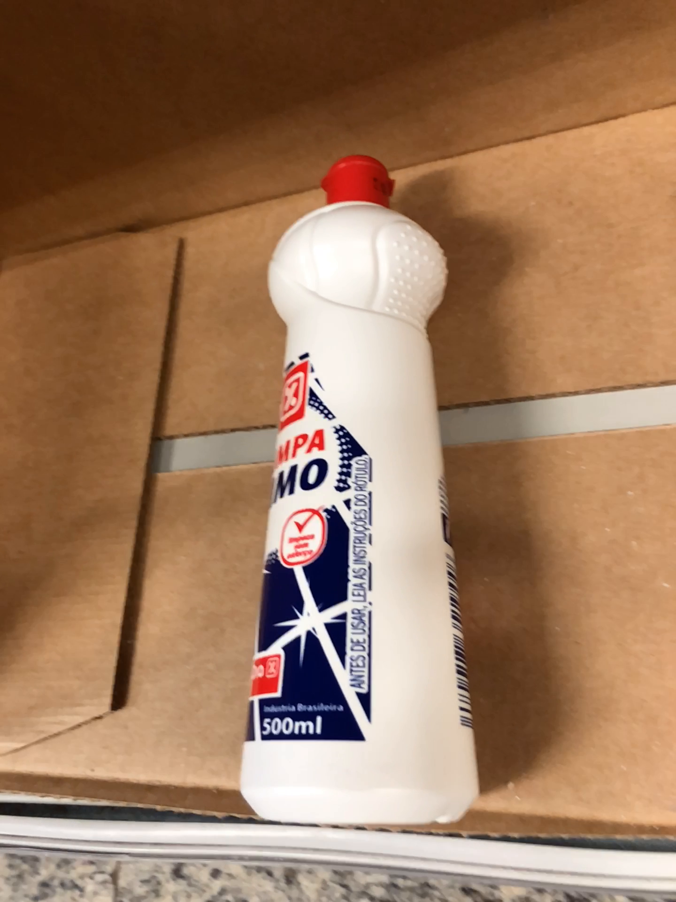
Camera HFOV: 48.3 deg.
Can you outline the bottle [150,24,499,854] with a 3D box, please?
[{"bbox_3d":[0.001,-0.015,0.257,0.080,0.060,0.261,-7,67,19],"label":"bottle"}]
